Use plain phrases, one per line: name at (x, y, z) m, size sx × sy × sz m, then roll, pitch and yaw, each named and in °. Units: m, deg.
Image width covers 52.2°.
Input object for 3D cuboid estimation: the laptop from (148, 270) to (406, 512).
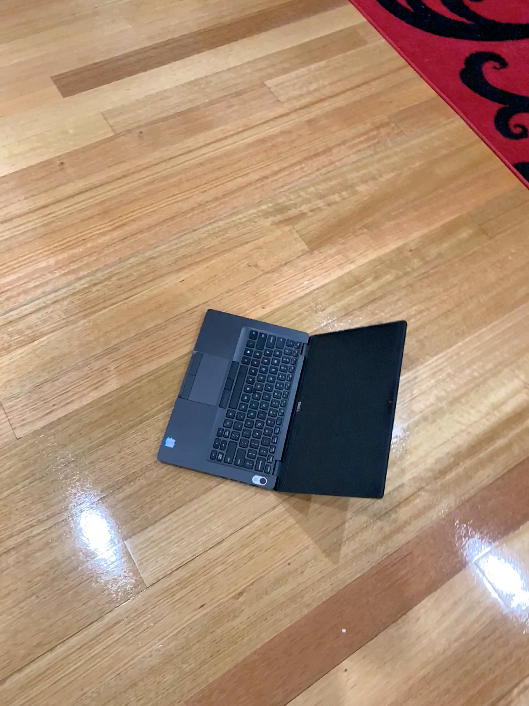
laptop at (0.032, 0.064, 0.960) m, size 0.372 × 0.134 × 0.321 m, roll 14°, pitch 64°, yaw 2°
